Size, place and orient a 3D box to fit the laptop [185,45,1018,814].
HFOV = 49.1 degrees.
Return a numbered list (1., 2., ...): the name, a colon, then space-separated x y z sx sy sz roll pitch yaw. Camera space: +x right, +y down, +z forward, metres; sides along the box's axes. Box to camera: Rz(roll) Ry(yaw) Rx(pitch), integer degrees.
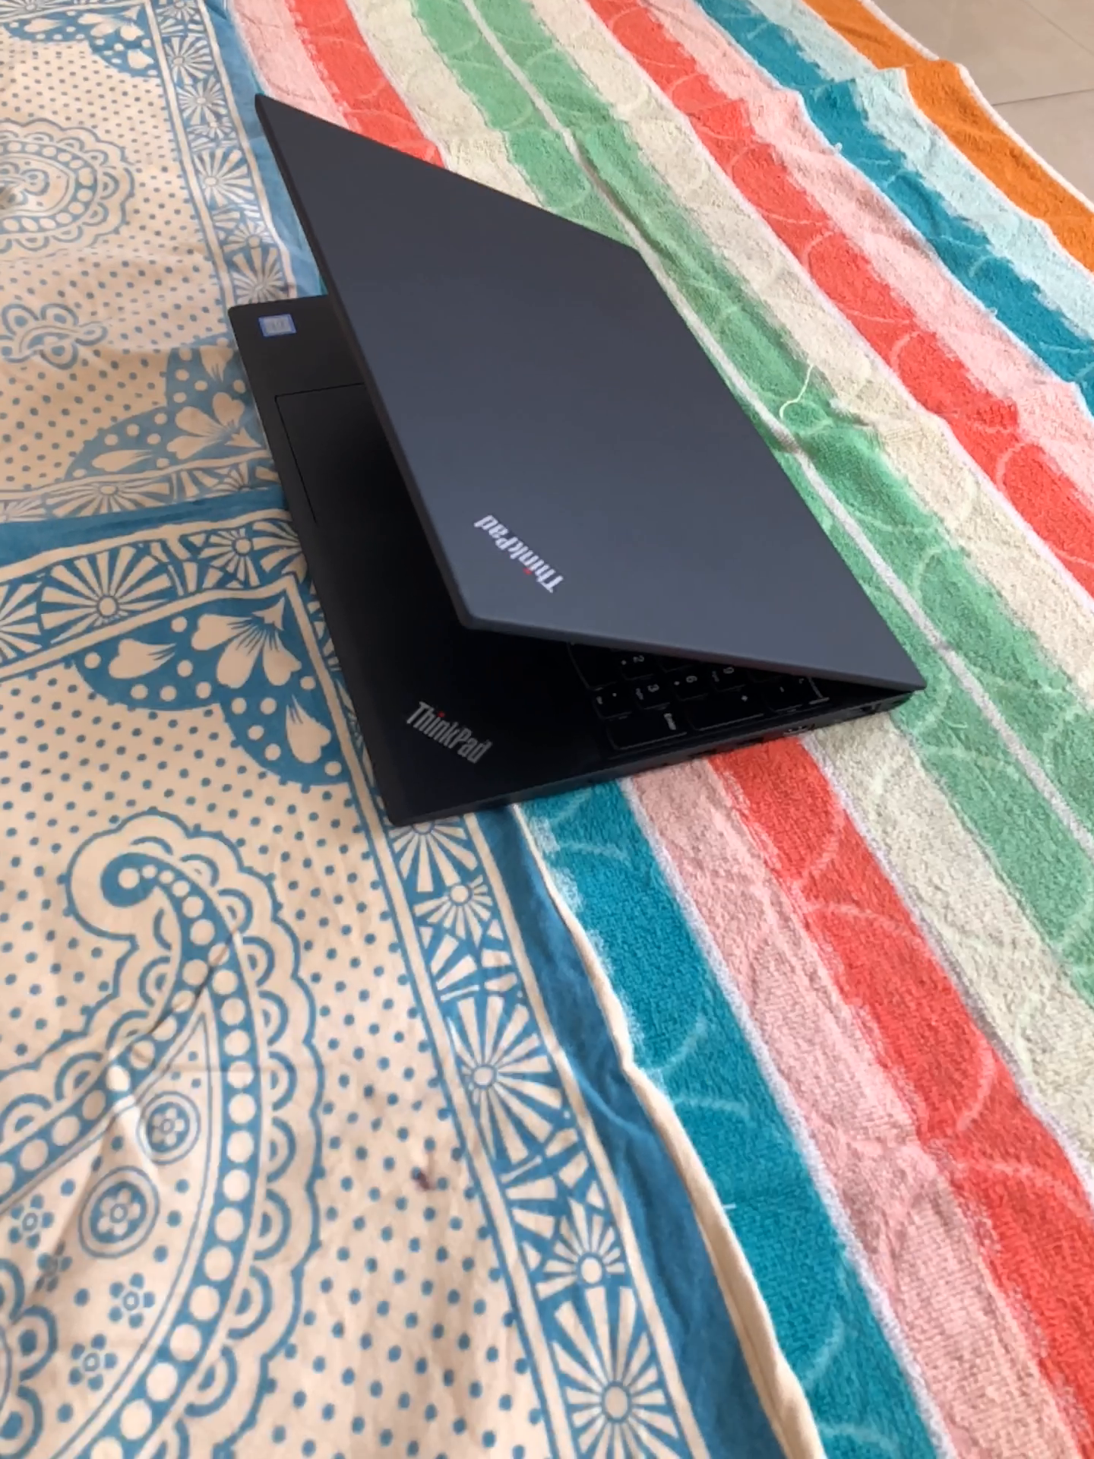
1. laptop: 0.000 -0.163 0.557 0.243 0.121 0.346 -14 57 -15
